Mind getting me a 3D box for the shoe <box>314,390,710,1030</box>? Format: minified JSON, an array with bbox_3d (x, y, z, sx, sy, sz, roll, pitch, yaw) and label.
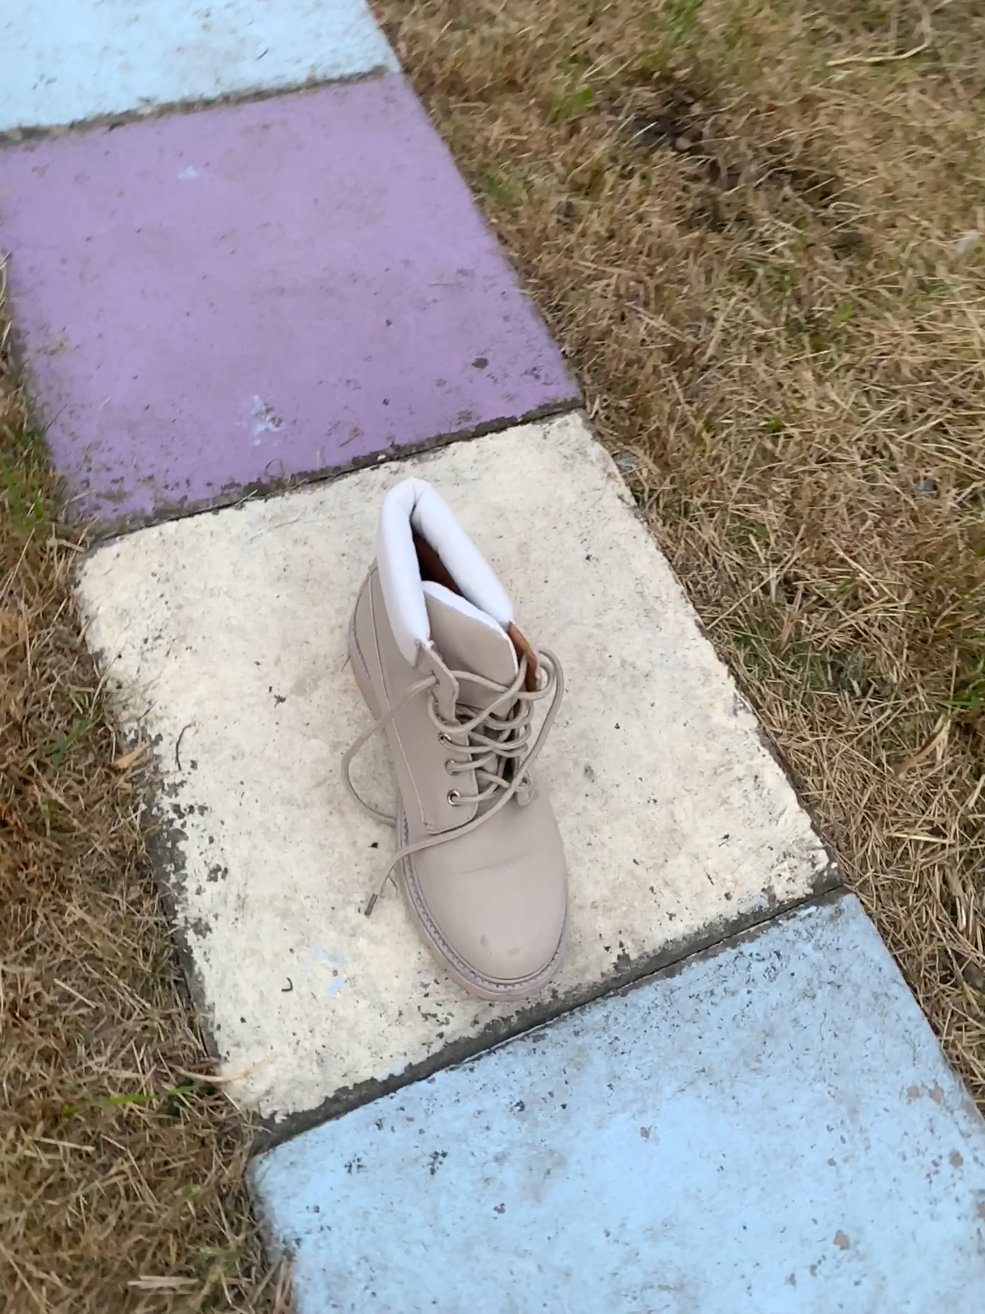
[{"bbox_3d":[-0.013,0.035,0.554,0.100,0.199,0.281,-13,66,-15],"label":"shoe"}]
